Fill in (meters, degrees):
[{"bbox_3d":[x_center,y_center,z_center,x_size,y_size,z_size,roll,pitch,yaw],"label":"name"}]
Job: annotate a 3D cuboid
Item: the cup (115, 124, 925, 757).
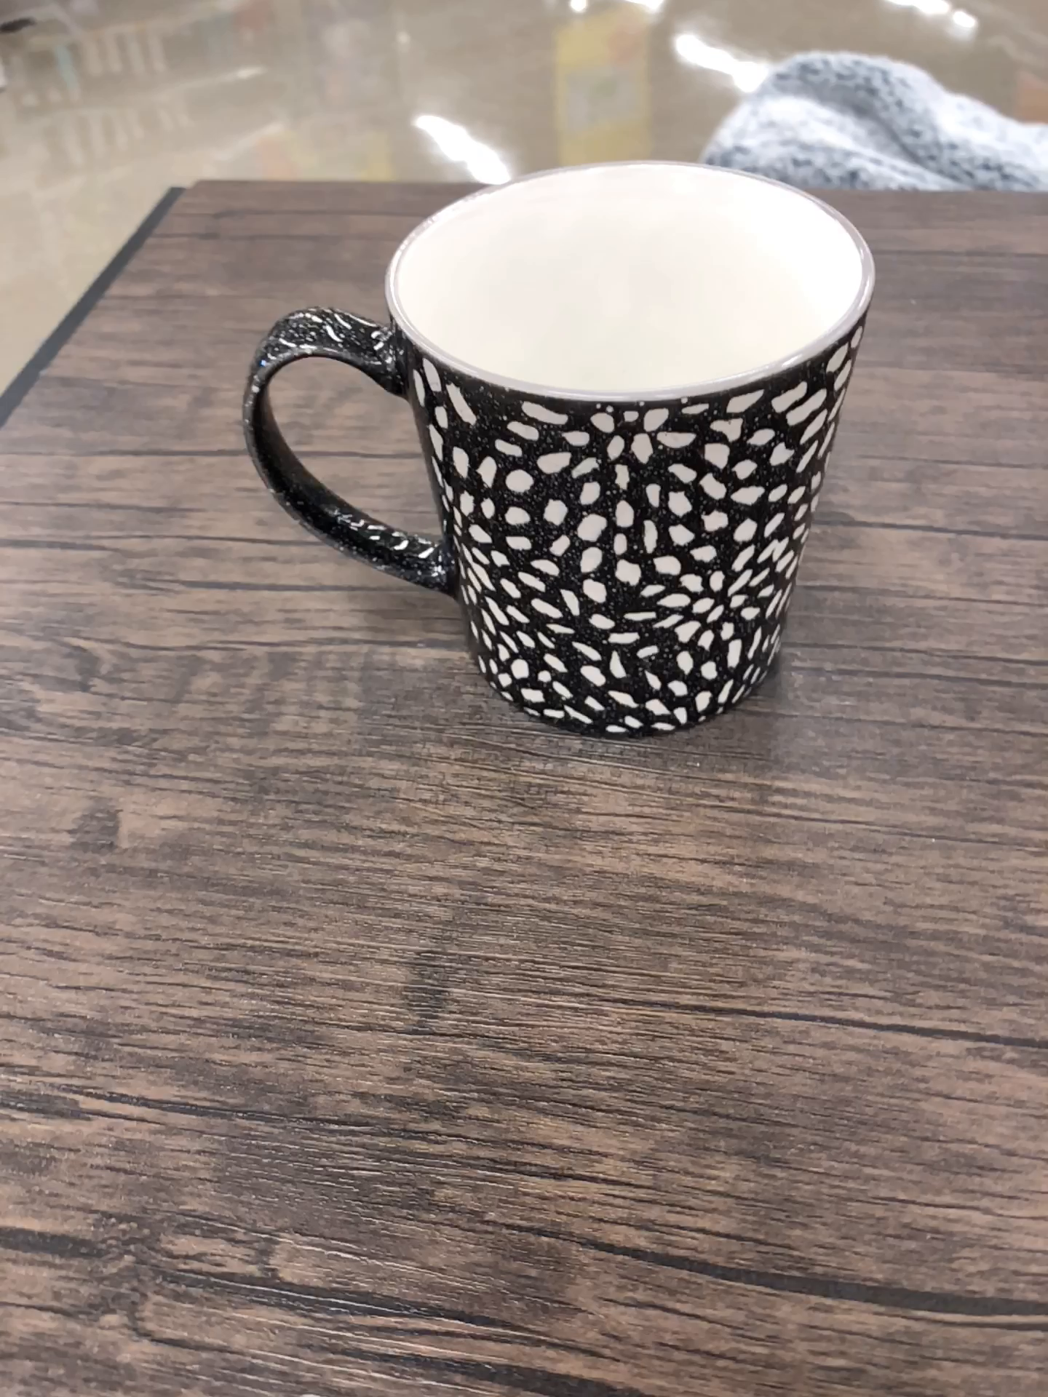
[{"bbox_3d":[0.002,-0.059,0.273,0.140,0.100,0.100,-2,46,3],"label":"cup"}]
